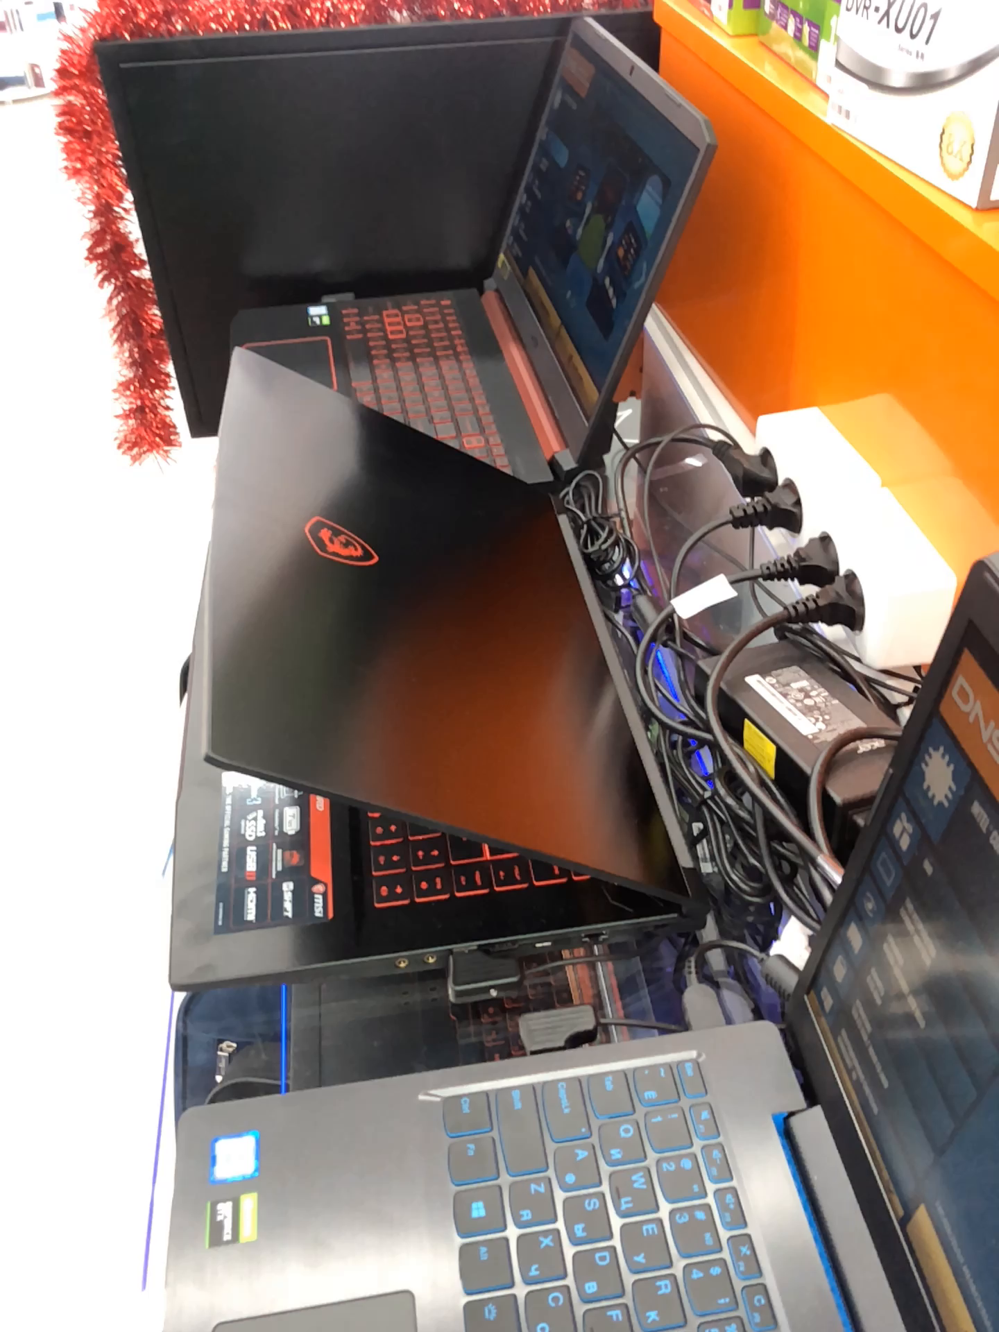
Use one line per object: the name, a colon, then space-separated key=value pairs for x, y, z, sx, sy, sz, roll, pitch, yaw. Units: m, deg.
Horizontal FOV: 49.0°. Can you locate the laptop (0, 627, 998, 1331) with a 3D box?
laptop: x=0.024 y=0.175 z=0.238 sx=0.278 sy=0.228 sz=0.327 roll=-3 pitch=38 yaw=-2

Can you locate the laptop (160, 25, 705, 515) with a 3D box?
laptop: x=-0.060 y=-0.332 z=0.866 sx=0.329 sy=0.225 sz=0.367 roll=-7 pitch=41 yaw=-6

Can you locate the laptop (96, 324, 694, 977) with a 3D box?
laptop: x=-0.062 y=-0.038 z=0.586 sx=0.225 sy=0.134 sz=0.349 roll=-7 pitch=41 yaw=-6
